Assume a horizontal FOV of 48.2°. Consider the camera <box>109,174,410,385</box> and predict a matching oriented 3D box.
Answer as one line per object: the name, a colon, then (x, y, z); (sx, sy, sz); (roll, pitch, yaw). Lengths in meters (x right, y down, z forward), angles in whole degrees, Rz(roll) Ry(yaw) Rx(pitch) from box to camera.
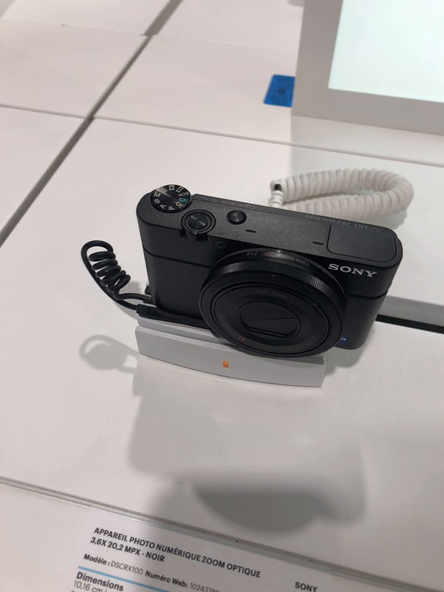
camera: (0.014, -0.006, 0.195); (0.100, 0.056, 0.036); (12, 50, 10)
